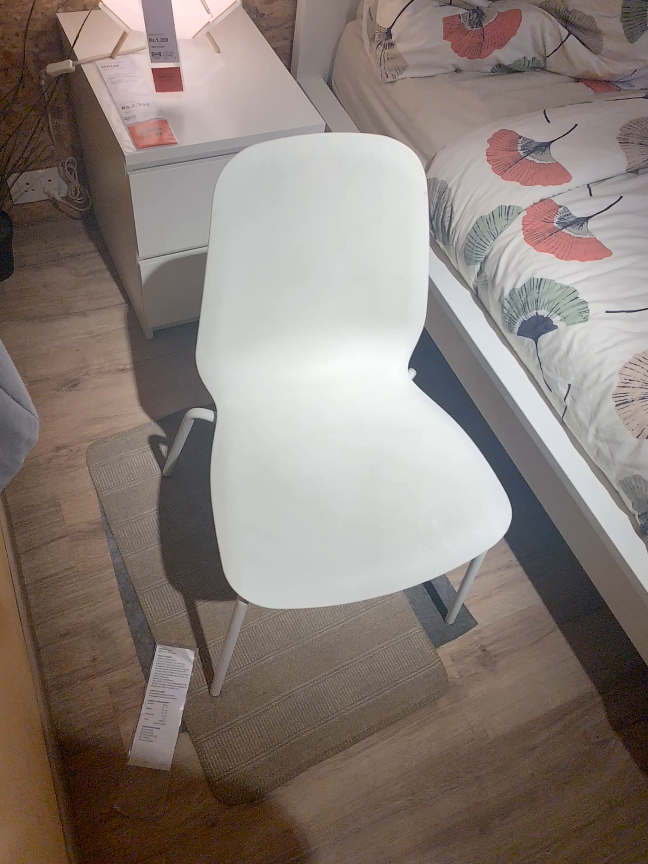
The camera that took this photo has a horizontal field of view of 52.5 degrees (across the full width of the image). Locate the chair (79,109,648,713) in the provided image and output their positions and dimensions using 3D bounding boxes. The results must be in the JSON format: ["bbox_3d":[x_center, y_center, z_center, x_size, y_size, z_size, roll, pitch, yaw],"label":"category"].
[{"bbox_3d":[-0.007,0.016,1.068,0.540,0.758,0.561,-12,61,-16],"label":"chair"}]
